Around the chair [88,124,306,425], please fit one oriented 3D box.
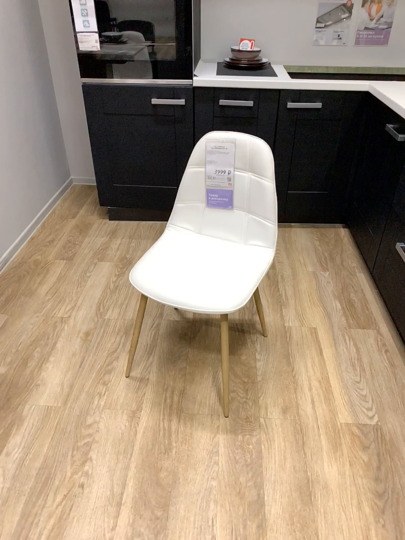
[{"bbox_3d":[0.015,-0.007,1.502,0.470,0.825,0.573,15,37,20],"label":"chair"}]
